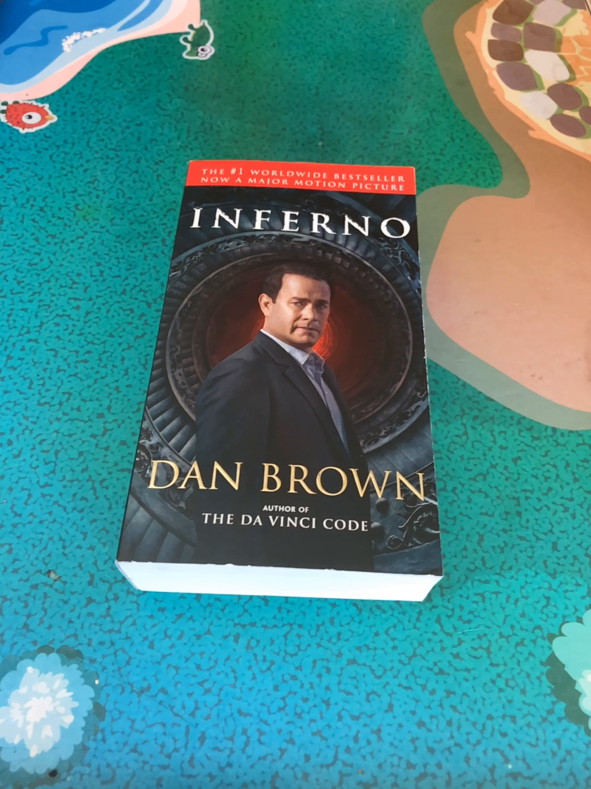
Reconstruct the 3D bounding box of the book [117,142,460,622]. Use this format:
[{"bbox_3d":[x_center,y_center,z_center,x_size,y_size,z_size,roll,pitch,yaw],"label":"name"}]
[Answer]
[{"bbox_3d":[0.001,-0.014,0.286,0.110,0.060,0.201,4,60,-1],"label":"book"}]
